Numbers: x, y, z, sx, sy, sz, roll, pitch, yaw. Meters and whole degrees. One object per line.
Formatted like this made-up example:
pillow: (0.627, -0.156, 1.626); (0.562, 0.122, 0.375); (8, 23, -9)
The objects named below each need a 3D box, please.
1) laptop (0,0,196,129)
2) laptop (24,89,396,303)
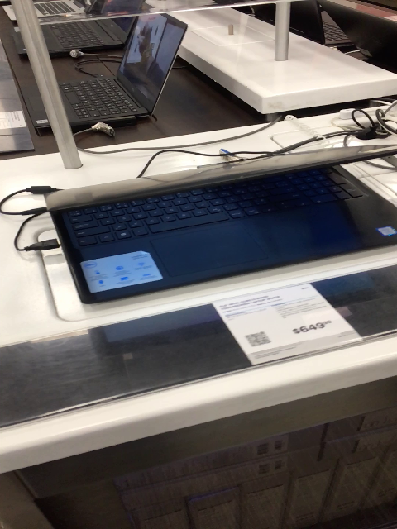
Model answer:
laptop: (-0.226, -0.437, 1.108); (0.337, 0.158, 0.267); (-14, 41, -8)
laptop: (0.025, -0.105, 0.667); (0.425, 0.106, 0.250); (-12, 41, -9)
